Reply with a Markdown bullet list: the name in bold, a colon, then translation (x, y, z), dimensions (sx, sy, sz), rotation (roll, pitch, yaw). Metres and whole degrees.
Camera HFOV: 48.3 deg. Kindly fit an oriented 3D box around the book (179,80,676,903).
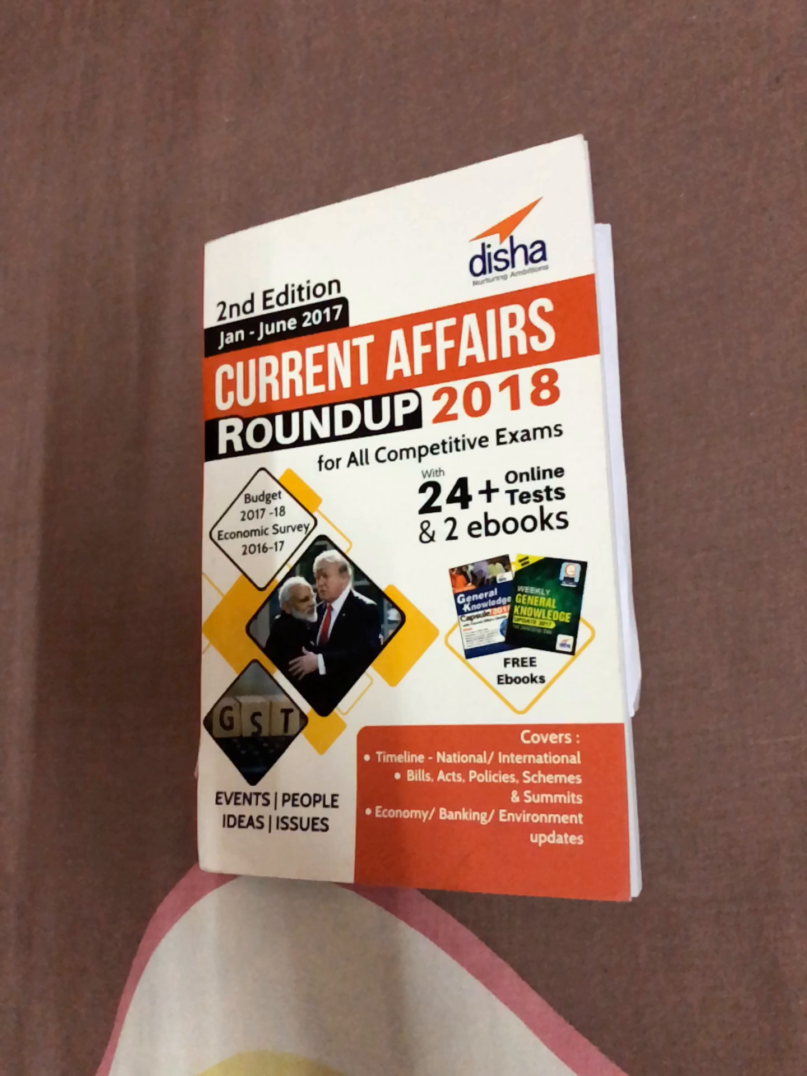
- **book**: translation (0.002, -0.011, 0.281), dimensions (0.140, 0.040, 0.220), rotation (-6, 79, 24)
